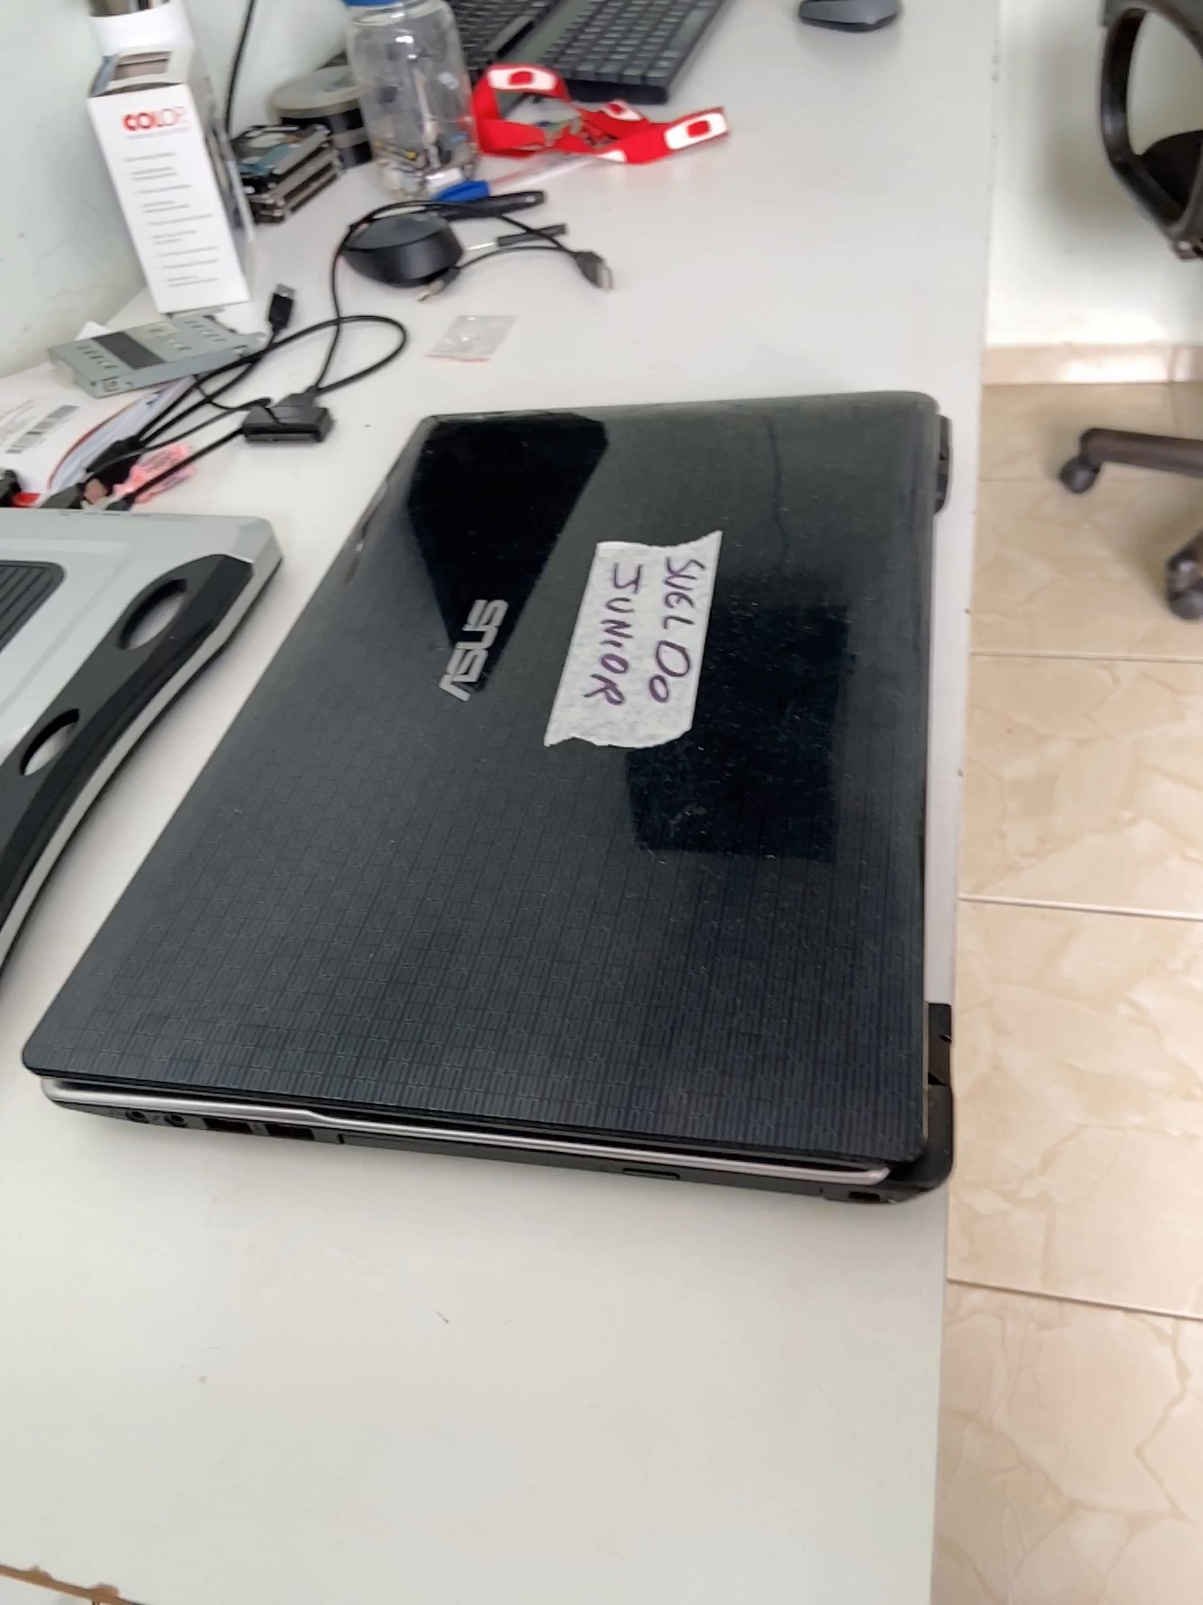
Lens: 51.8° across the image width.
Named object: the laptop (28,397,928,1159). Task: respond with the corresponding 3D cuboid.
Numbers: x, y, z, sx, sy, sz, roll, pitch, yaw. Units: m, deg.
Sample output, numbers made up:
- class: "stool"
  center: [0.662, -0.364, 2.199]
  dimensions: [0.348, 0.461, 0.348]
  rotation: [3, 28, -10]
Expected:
- class: "laptop"
  center: [-0.008, -0.052, 0.436]
  dimensions: [0.236, 0.001, 0.365]
  rotation: [2, 45, 14]
